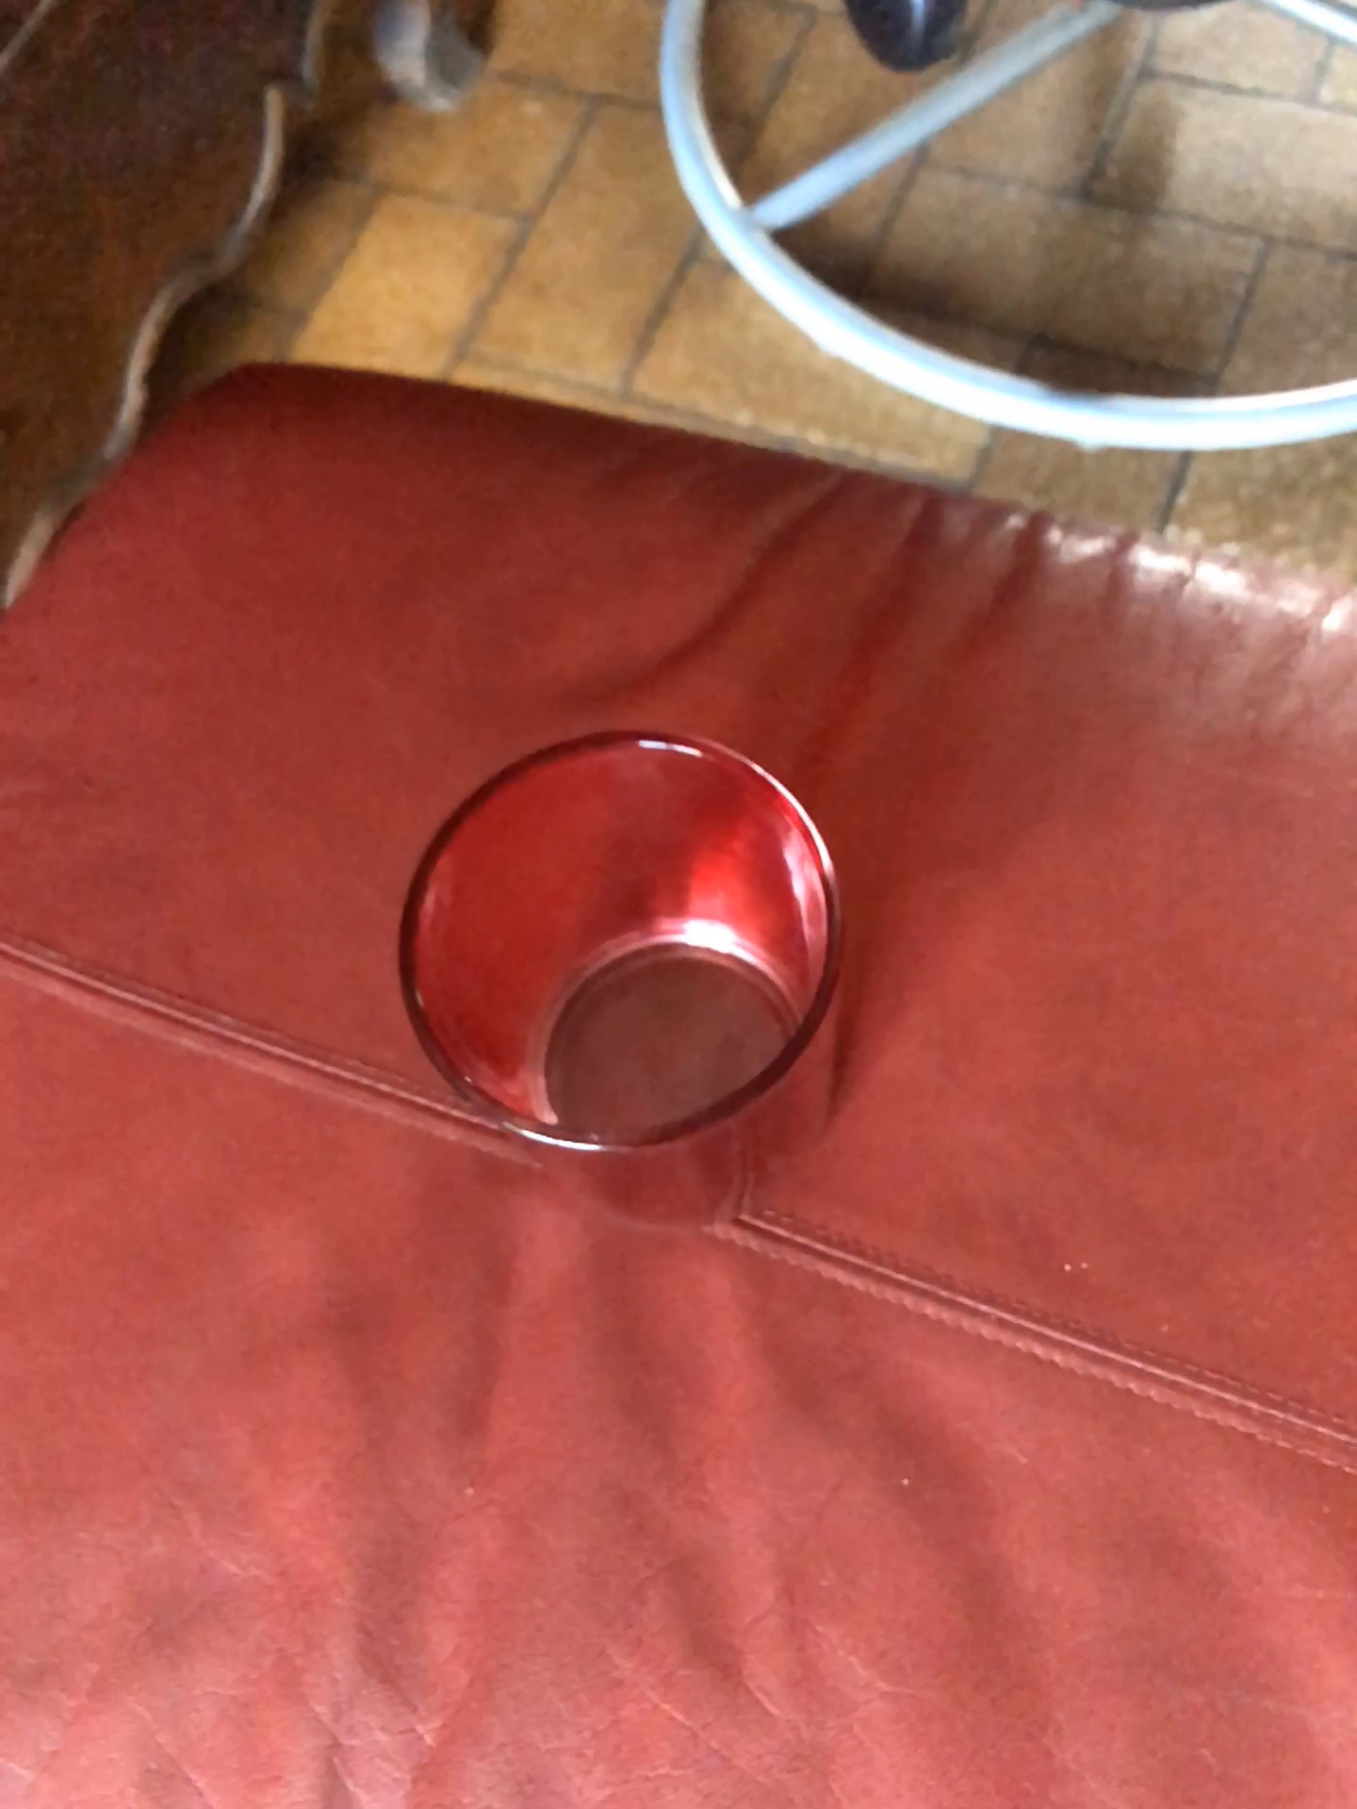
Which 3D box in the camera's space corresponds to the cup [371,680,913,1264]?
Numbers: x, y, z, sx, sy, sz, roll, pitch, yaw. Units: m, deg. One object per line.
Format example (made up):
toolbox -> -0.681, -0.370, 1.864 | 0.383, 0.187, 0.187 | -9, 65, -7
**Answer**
cup -> 0.001, 0.017, 0.273 | 0.070, 0.090, 0.070 | -2, 69, 6
